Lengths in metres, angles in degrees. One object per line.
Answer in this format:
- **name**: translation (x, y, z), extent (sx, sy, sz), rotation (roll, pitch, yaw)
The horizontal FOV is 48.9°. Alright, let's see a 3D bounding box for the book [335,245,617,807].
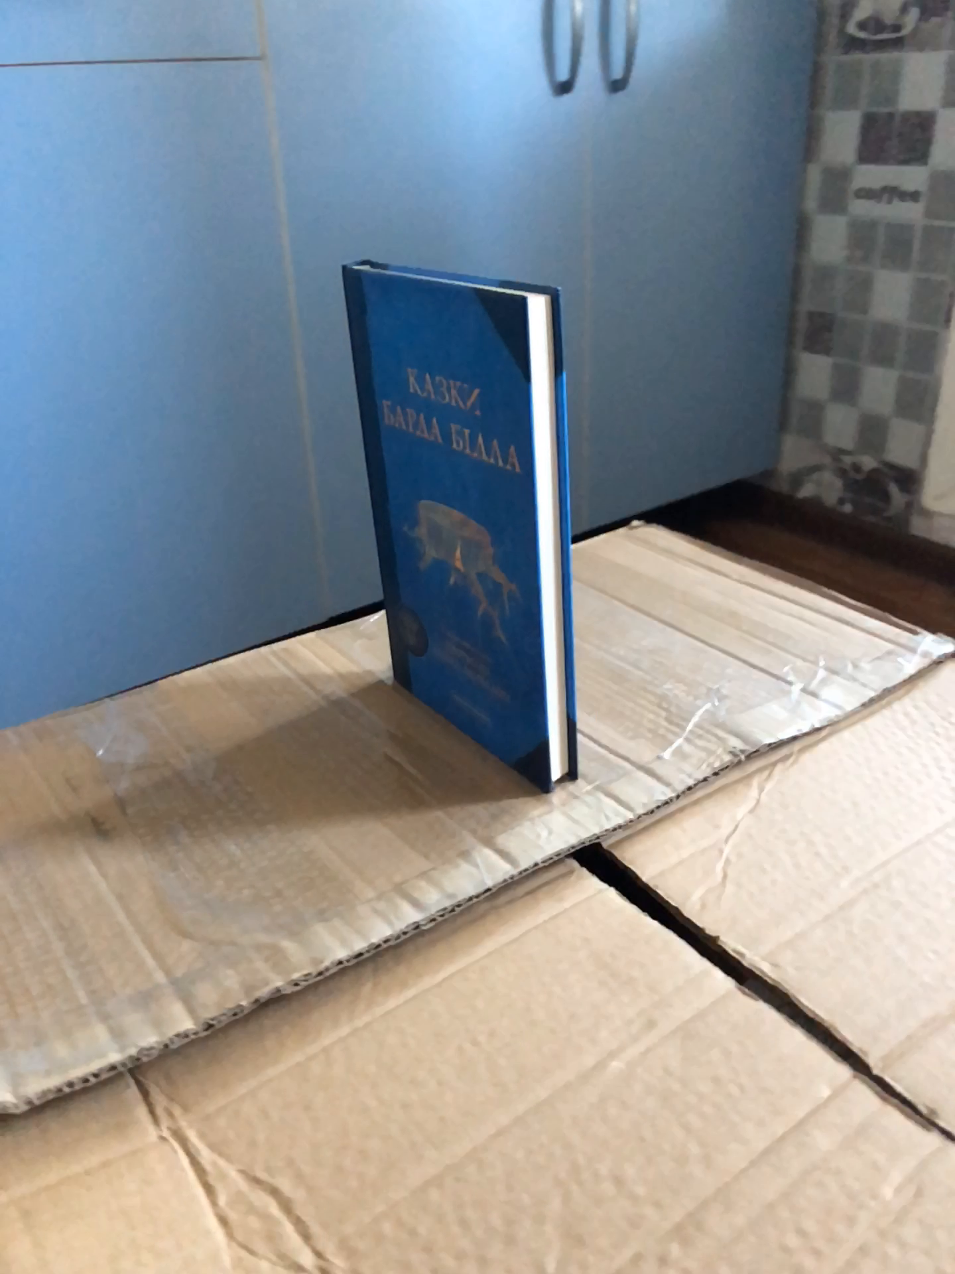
- **book**: translation (-0.004, -0.051, 0.439), extent (0.030, 0.199, 0.144), rotation (-19, 31, -29)
